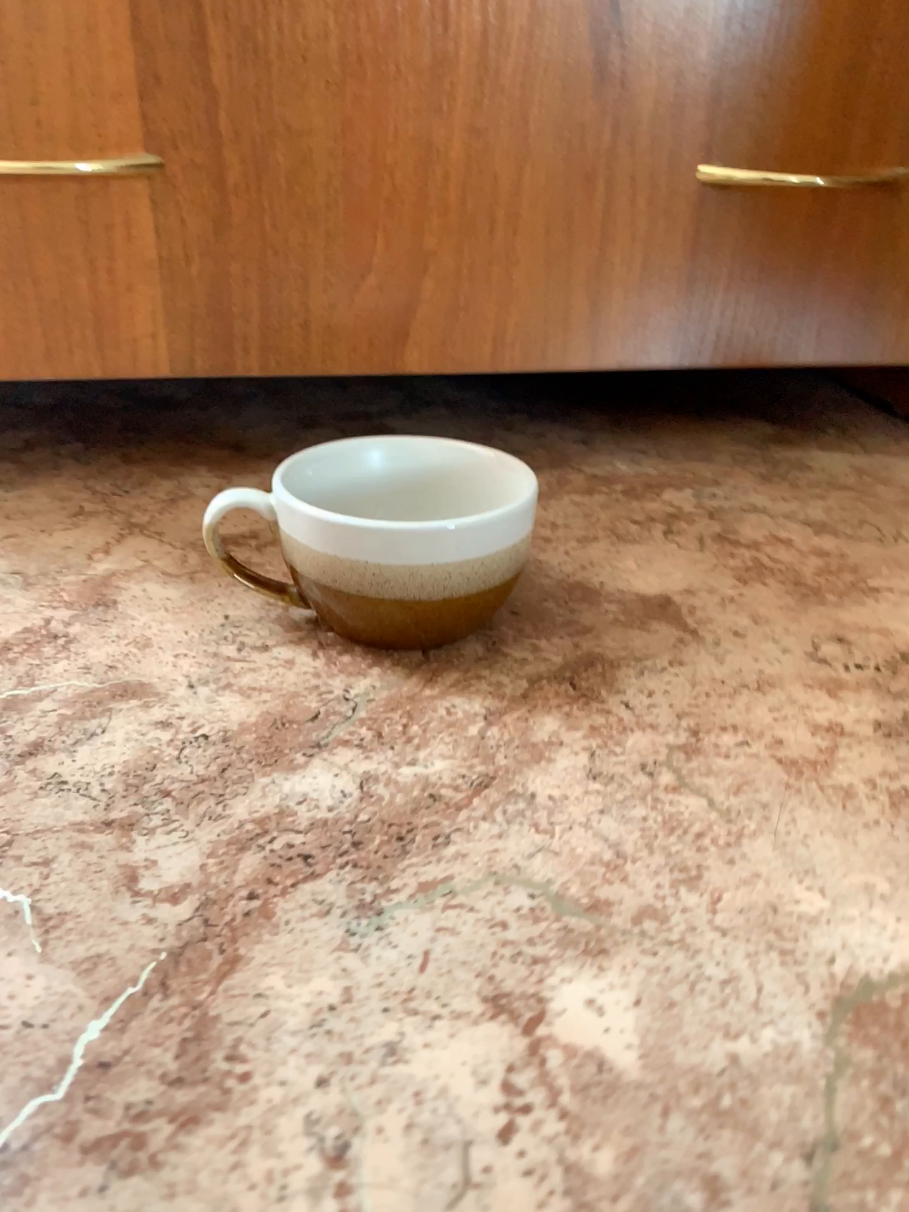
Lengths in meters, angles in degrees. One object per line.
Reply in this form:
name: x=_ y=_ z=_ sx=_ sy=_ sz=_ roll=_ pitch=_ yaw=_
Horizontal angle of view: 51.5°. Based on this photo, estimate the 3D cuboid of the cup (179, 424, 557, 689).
cup: x=-0.031 y=-0.021 z=0.341 sx=0.115 sy=0.059 sz=0.091 roll=0 pitch=29 yaw=-6
